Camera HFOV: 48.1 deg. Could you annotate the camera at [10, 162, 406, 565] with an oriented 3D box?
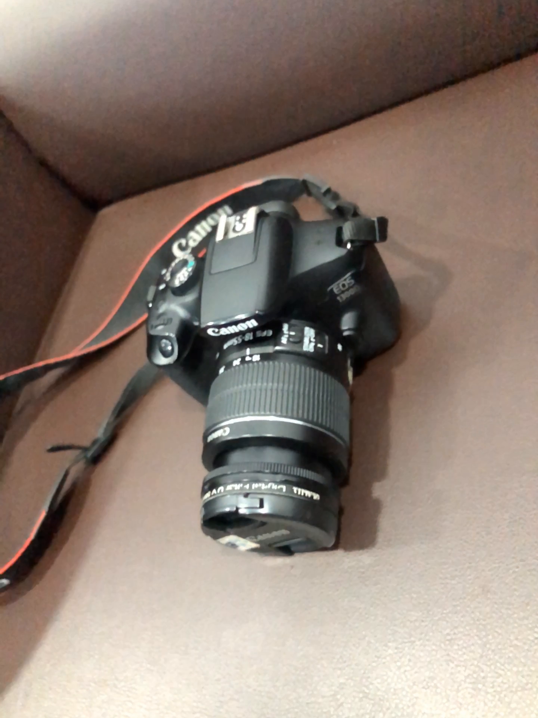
[{"bbox_3d":[-0.015,0.010,0.278,0.130,0.089,0.141,-11,51,28],"label":"camera"}]
